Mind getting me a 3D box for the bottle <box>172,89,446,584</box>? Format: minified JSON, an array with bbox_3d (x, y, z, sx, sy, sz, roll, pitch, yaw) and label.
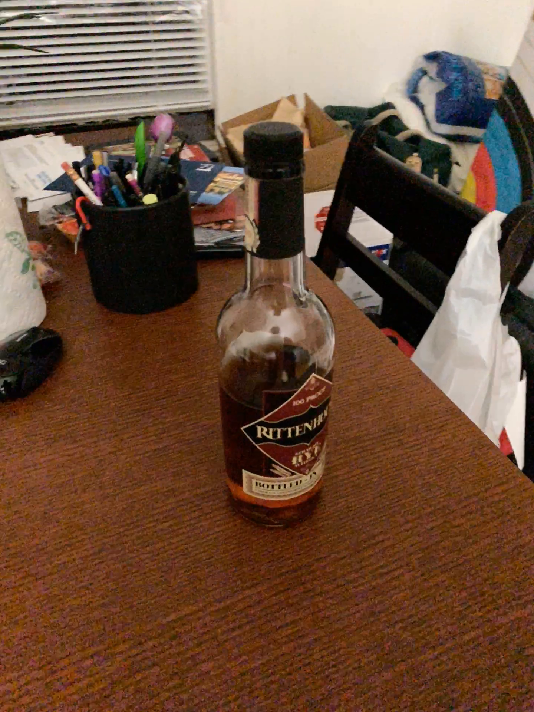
[{"bbox_3d":[0.017,0.005,0.341,0.090,0.288,0.090,0,38,0],"label":"bottle"}]
